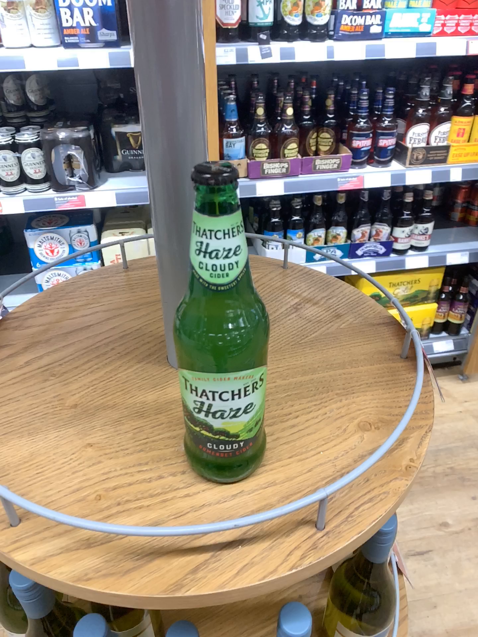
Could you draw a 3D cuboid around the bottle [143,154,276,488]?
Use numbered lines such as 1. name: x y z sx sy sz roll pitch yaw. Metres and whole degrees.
1. bottle: -0.015 0.014 0.354 0.069 0.240 0.079 0 35 0
